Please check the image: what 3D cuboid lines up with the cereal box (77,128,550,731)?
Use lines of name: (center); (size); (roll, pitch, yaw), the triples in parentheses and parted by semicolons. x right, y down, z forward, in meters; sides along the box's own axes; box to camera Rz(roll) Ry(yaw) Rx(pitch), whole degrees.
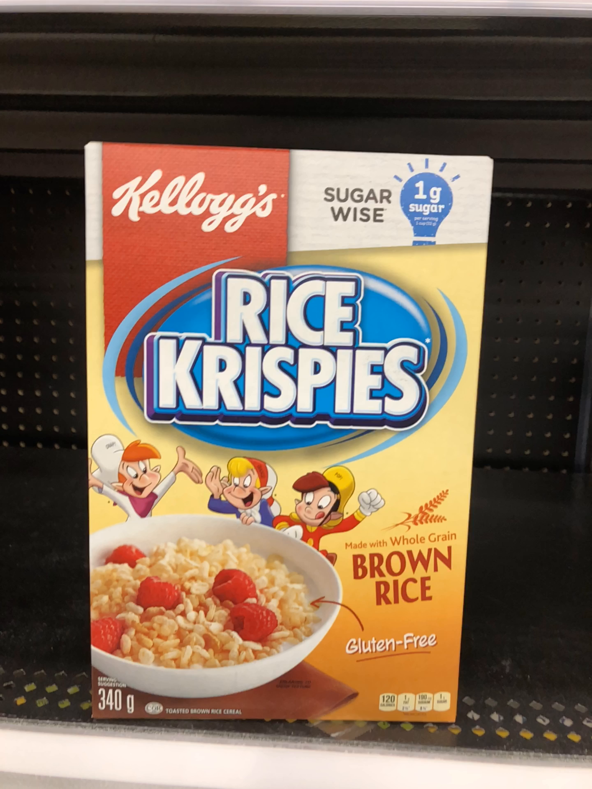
cereal box: (0.004, 0.023, 0.344); (0.210, 0.289, 0.060); (2, 9, -1)
